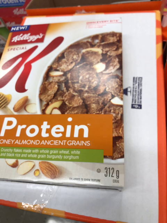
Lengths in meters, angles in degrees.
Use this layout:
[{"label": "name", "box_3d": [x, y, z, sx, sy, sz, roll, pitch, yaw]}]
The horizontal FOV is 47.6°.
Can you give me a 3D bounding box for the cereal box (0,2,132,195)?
[{"label": "cereal box", "box_3d": [-0.038, -0.031, 0.272, 0.200, 0.060, 0.260, -1, 64, 12]}]
